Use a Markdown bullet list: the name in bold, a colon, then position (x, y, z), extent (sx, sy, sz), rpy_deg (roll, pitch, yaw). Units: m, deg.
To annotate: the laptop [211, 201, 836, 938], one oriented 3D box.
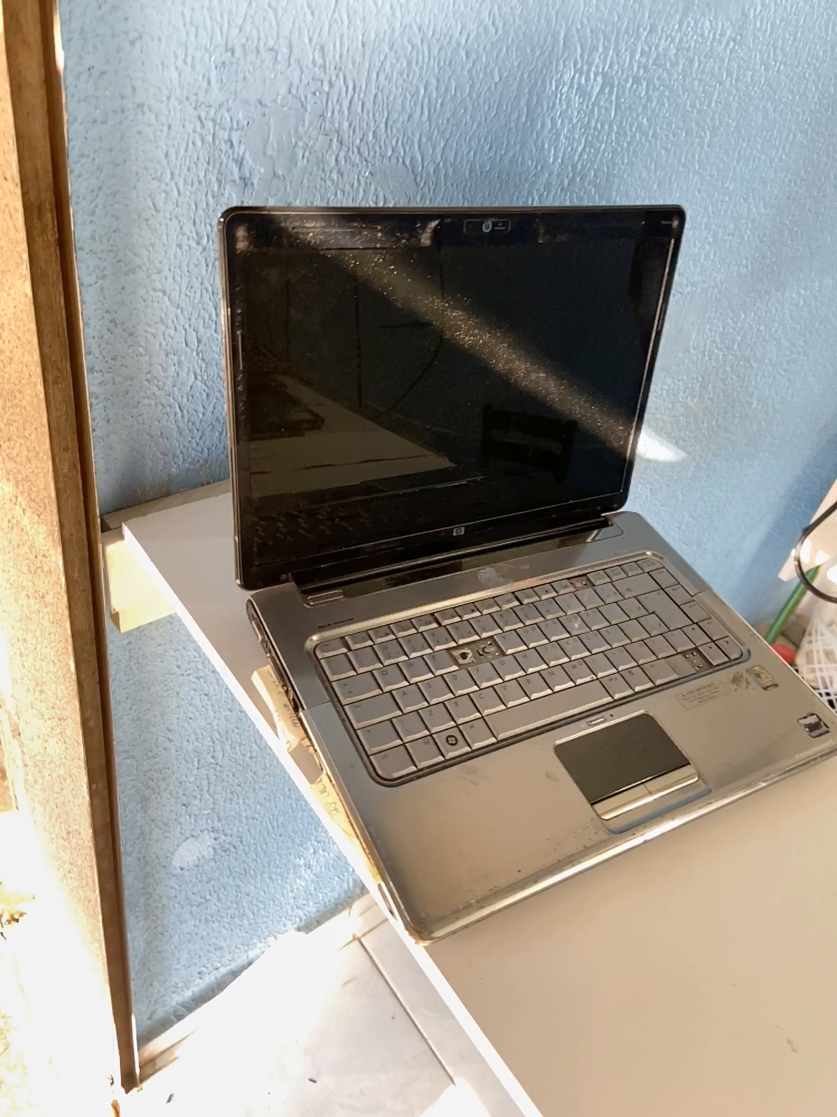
- **laptop**: position (0.096, -0.038, 0.539), extent (0.352, 0.233, 0.329), rpy_deg (-12, 46, -28)
